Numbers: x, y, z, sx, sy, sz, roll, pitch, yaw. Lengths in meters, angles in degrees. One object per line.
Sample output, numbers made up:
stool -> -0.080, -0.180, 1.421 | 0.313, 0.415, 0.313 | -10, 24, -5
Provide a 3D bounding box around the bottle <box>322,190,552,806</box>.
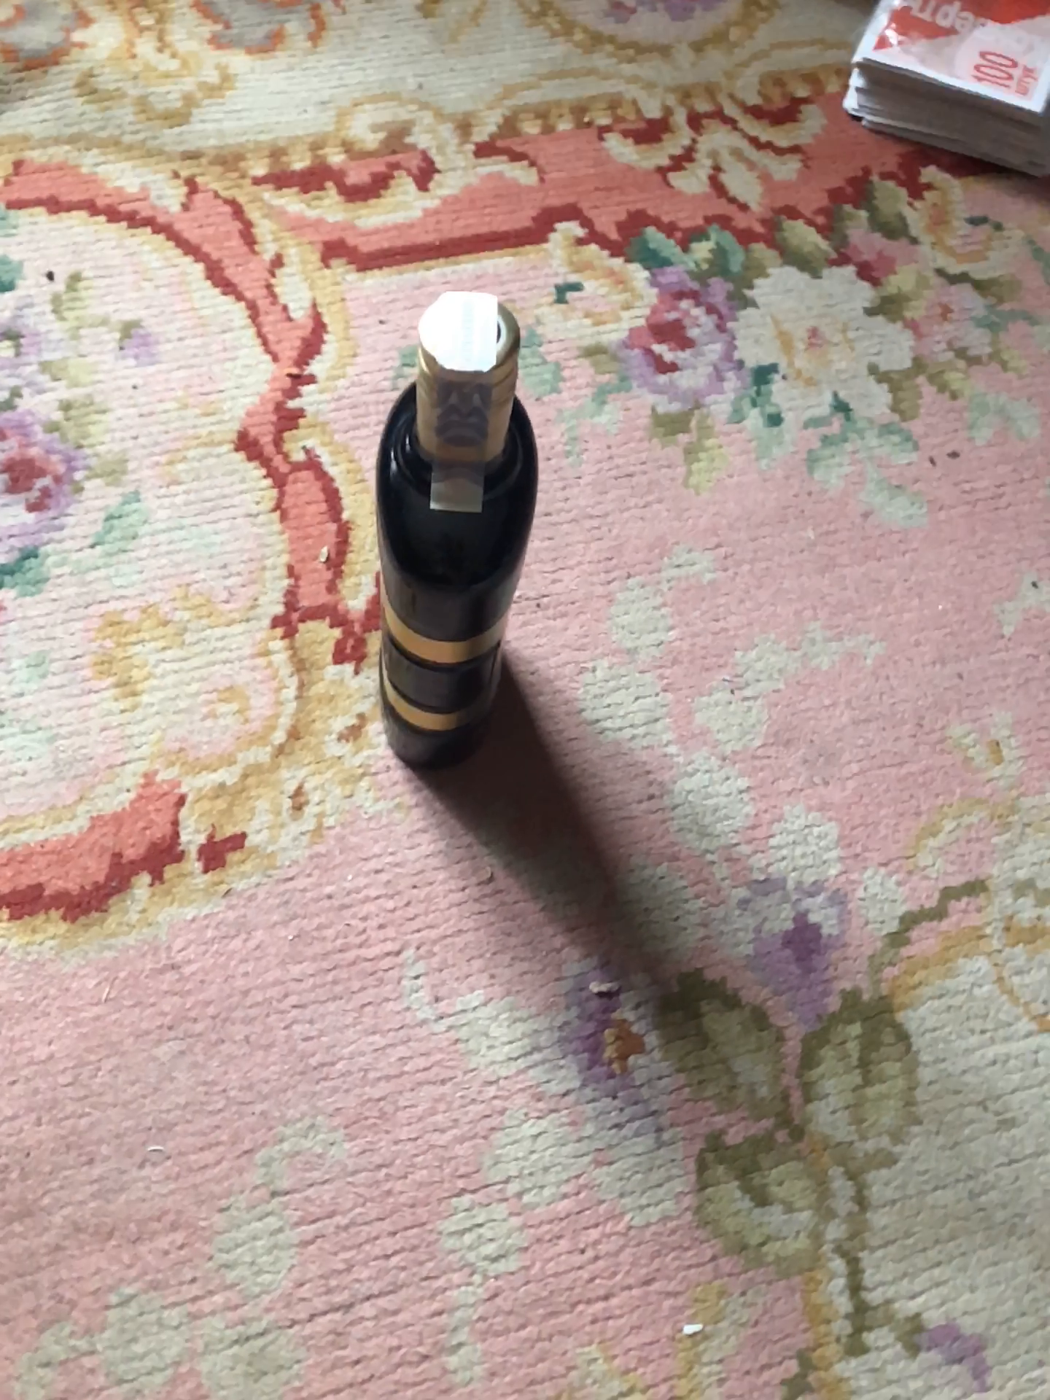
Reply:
bottle -> -0.031, -0.050, 0.420 | 0.050, 0.239, 0.100 | 6, 66, -2
